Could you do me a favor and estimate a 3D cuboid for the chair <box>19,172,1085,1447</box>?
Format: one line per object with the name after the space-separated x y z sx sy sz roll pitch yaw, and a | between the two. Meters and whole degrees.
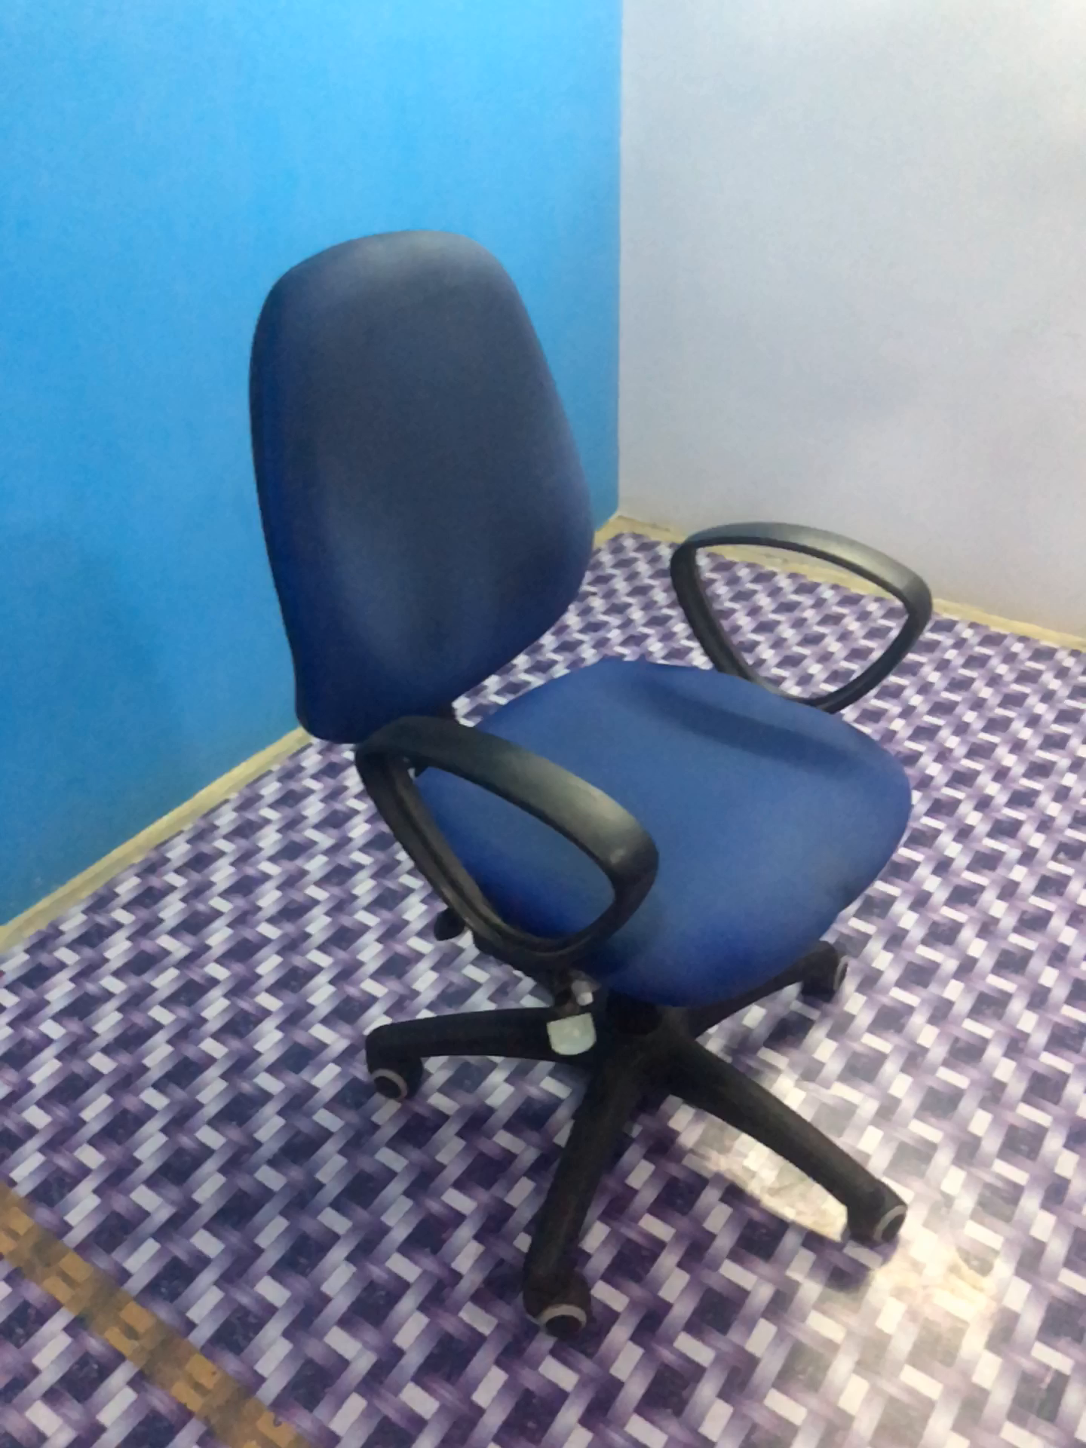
0.122 0.025 1.135 0.670 0.875 0.704 19 38 29 | chair
